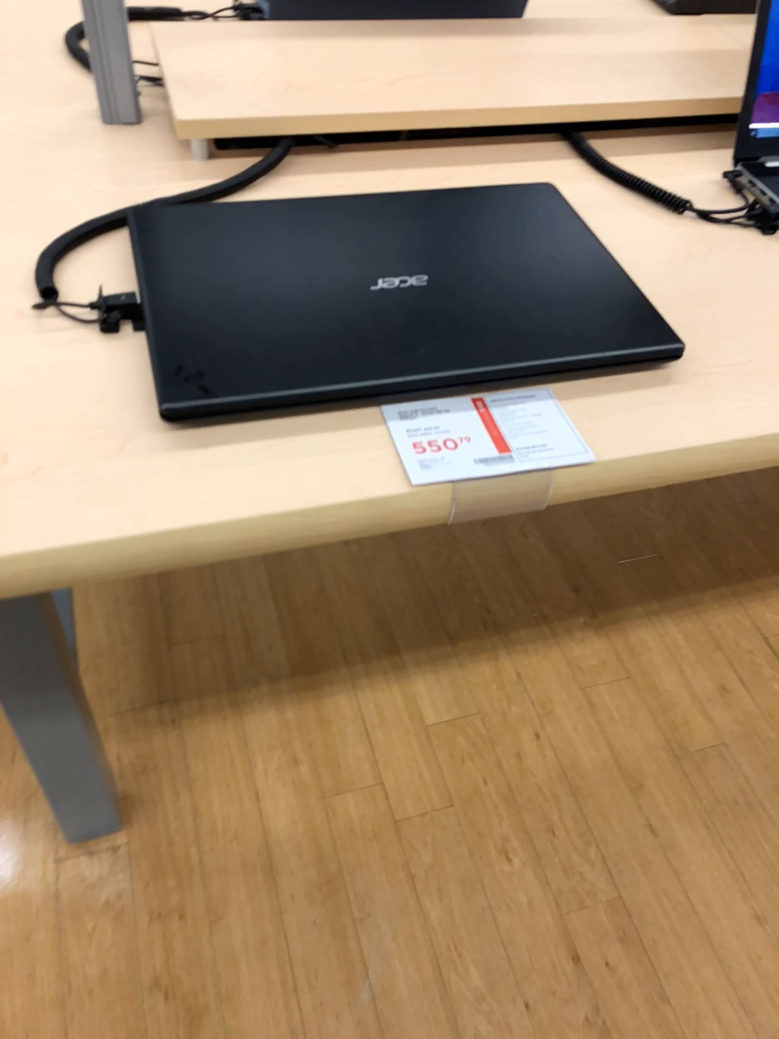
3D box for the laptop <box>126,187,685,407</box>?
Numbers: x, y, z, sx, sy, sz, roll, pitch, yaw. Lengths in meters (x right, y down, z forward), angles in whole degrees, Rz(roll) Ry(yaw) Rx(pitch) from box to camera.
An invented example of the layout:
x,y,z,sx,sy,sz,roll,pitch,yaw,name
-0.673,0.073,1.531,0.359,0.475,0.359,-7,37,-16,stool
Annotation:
x,y,z,sx,sy,sz,roll,pitch,yaw,name
0.002,-0.207,0.726,0.416,0.001,0.268,-9,50,-14,laptop
